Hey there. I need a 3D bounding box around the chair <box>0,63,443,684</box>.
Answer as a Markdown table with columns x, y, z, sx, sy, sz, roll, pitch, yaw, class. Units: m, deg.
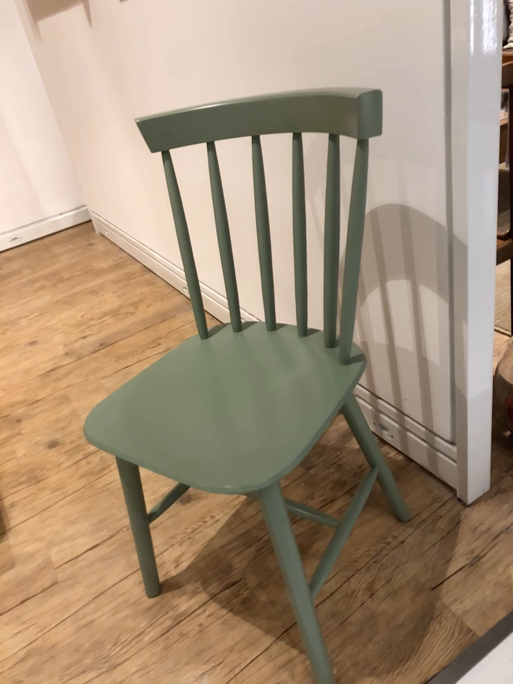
| x | y | z | sx | sy | sz | roll | pitch | yaw | class |
| --- | --- | --- | --- | --- | --- | --- | --- | --- | --- |
| -0.019 | 0.054 | 0.947 | 0.471 | 0.814 | 0.523 | 11 | 38 | 35 | chair |
